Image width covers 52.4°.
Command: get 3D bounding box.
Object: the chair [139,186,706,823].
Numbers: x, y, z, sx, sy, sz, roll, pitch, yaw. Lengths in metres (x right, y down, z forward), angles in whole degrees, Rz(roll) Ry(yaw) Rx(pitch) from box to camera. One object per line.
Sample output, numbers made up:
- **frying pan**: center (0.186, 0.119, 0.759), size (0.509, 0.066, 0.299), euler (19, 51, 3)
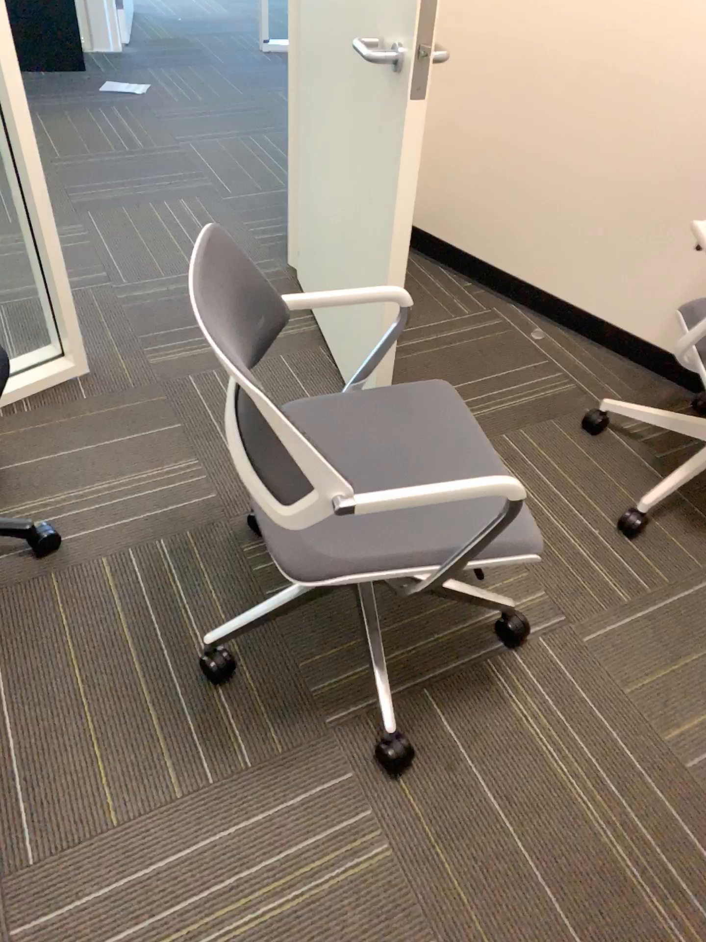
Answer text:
- **chair**: center (0.038, 0.022, 1.348), size (0.730, 0.766, 0.804), euler (-7, 45, -12)
